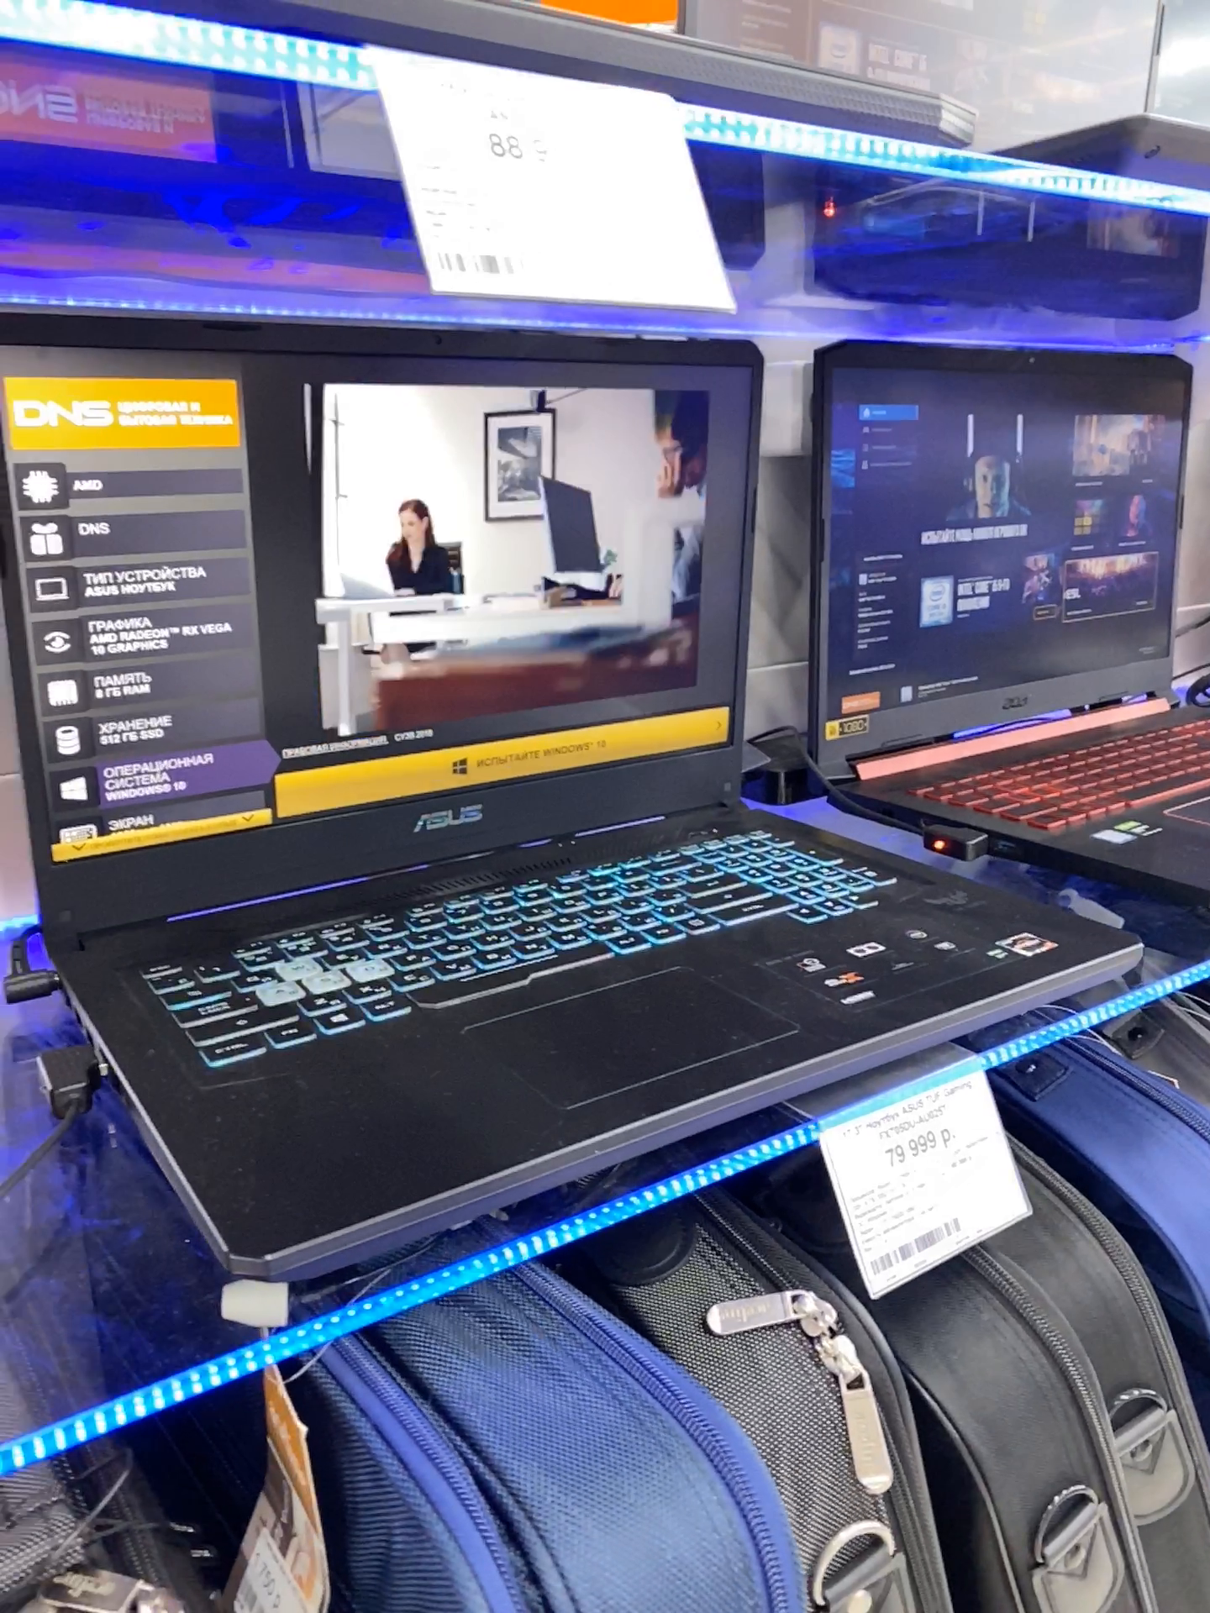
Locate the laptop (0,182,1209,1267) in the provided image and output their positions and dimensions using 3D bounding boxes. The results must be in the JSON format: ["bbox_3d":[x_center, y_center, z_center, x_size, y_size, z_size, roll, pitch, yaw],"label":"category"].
[{"bbox_3d":[-0.008,-0.064,0.511,0.397,0.265,0.269,-10,18,-32],"label":"laptop"}]
